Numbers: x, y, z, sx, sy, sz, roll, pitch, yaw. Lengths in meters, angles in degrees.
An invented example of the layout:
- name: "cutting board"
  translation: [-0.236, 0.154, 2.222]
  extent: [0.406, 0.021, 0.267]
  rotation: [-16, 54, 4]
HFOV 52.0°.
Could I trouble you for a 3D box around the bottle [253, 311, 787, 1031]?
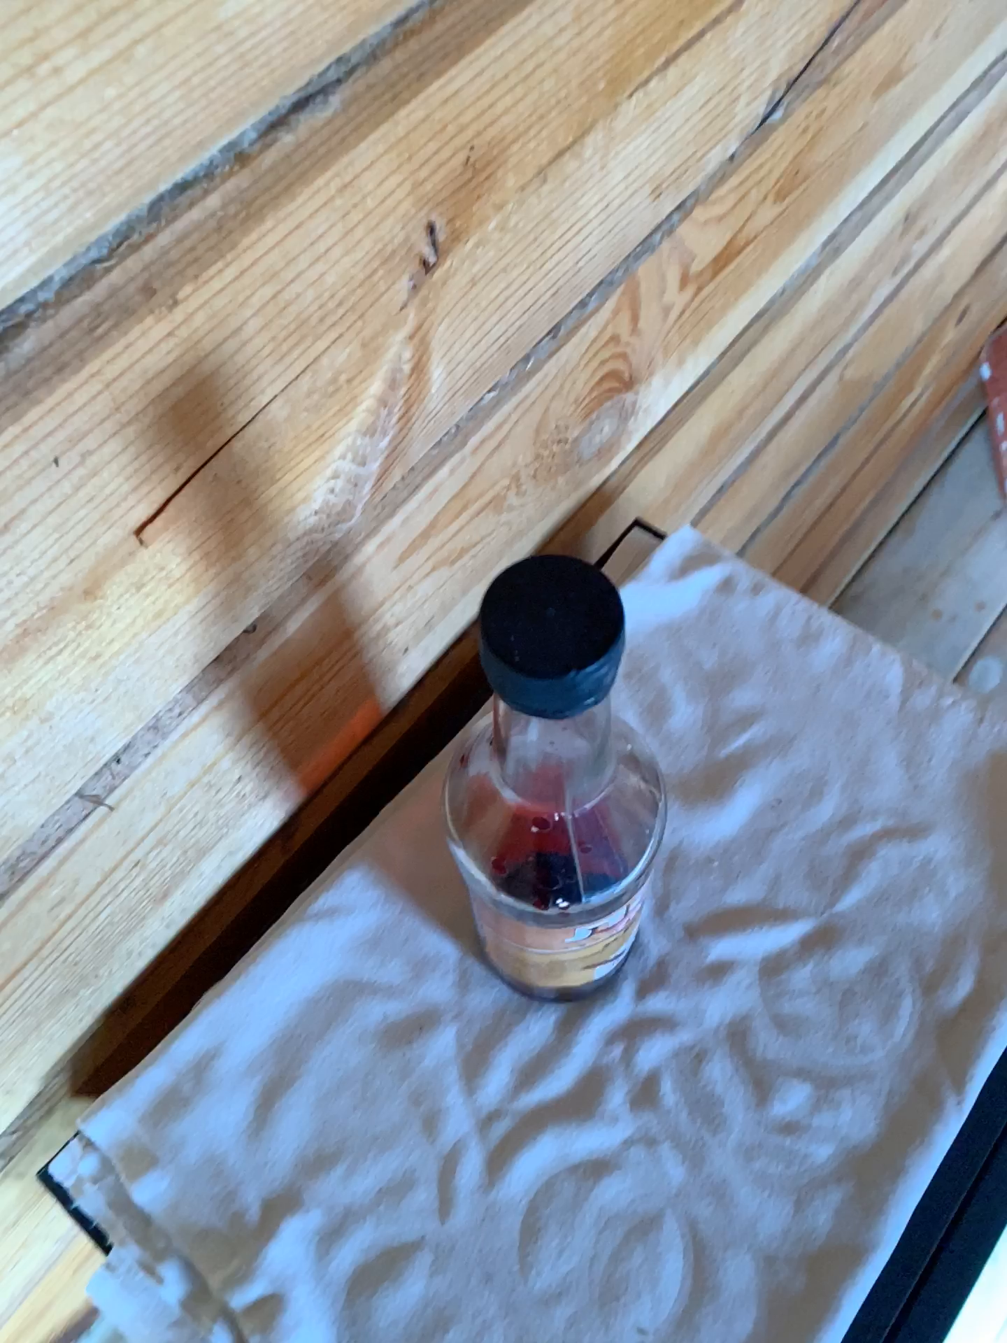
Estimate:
- name: "bottle"
  translation: [0.014, 0.030, 0.305]
  extent: [0.070, 0.258, 0.080]
  rotation: [24, 66, 16]
